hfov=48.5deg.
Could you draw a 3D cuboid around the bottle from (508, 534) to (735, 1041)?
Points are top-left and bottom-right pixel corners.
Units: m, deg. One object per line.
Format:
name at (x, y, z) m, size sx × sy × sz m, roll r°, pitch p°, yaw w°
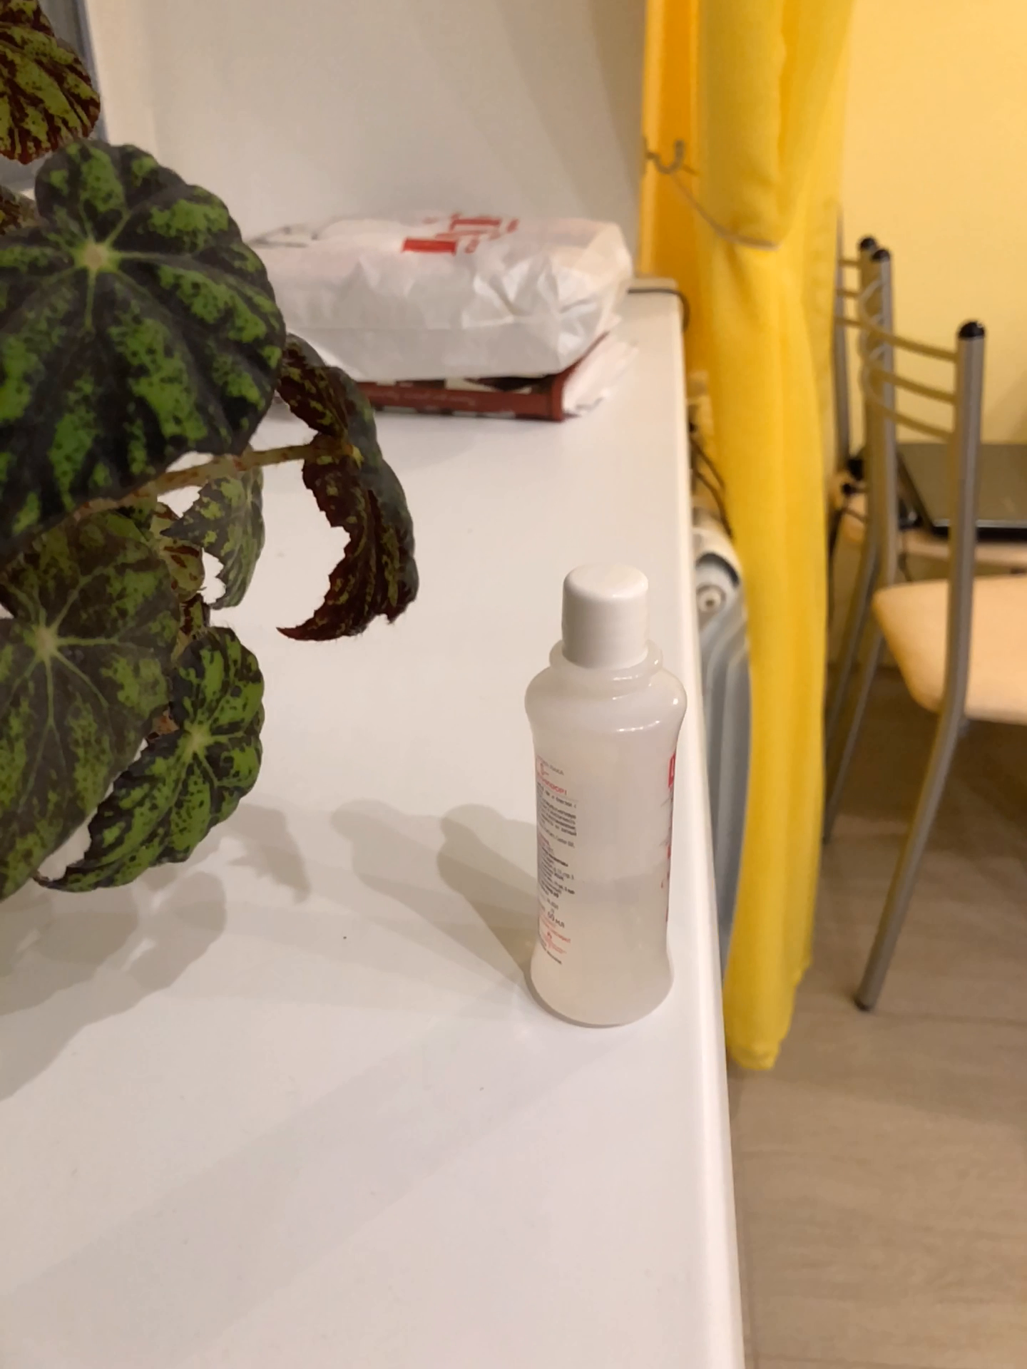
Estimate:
bottle at (0.021, 0.024, 0.253) m, size 0.036 × 0.105 × 0.037 m, roll -1°, pitch 29°, yaw 0°
